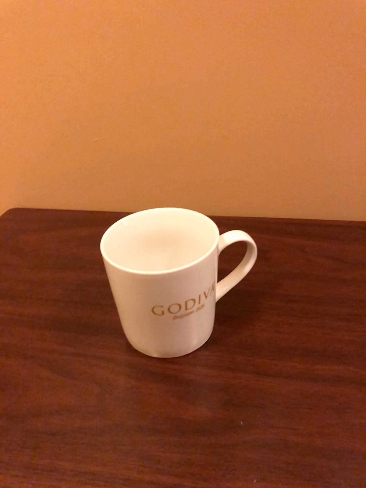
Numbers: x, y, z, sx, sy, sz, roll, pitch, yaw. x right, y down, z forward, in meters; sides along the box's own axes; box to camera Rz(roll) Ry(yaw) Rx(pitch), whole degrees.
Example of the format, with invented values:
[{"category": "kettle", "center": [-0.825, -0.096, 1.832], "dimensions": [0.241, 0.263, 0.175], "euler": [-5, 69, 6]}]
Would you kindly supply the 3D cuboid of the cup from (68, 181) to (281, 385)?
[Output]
[{"category": "cup", "center": [-0.007, 0.025, 0.376], "dimensions": [0.150, 0.099, 0.110], "euler": [-20, 36, -23]}]
